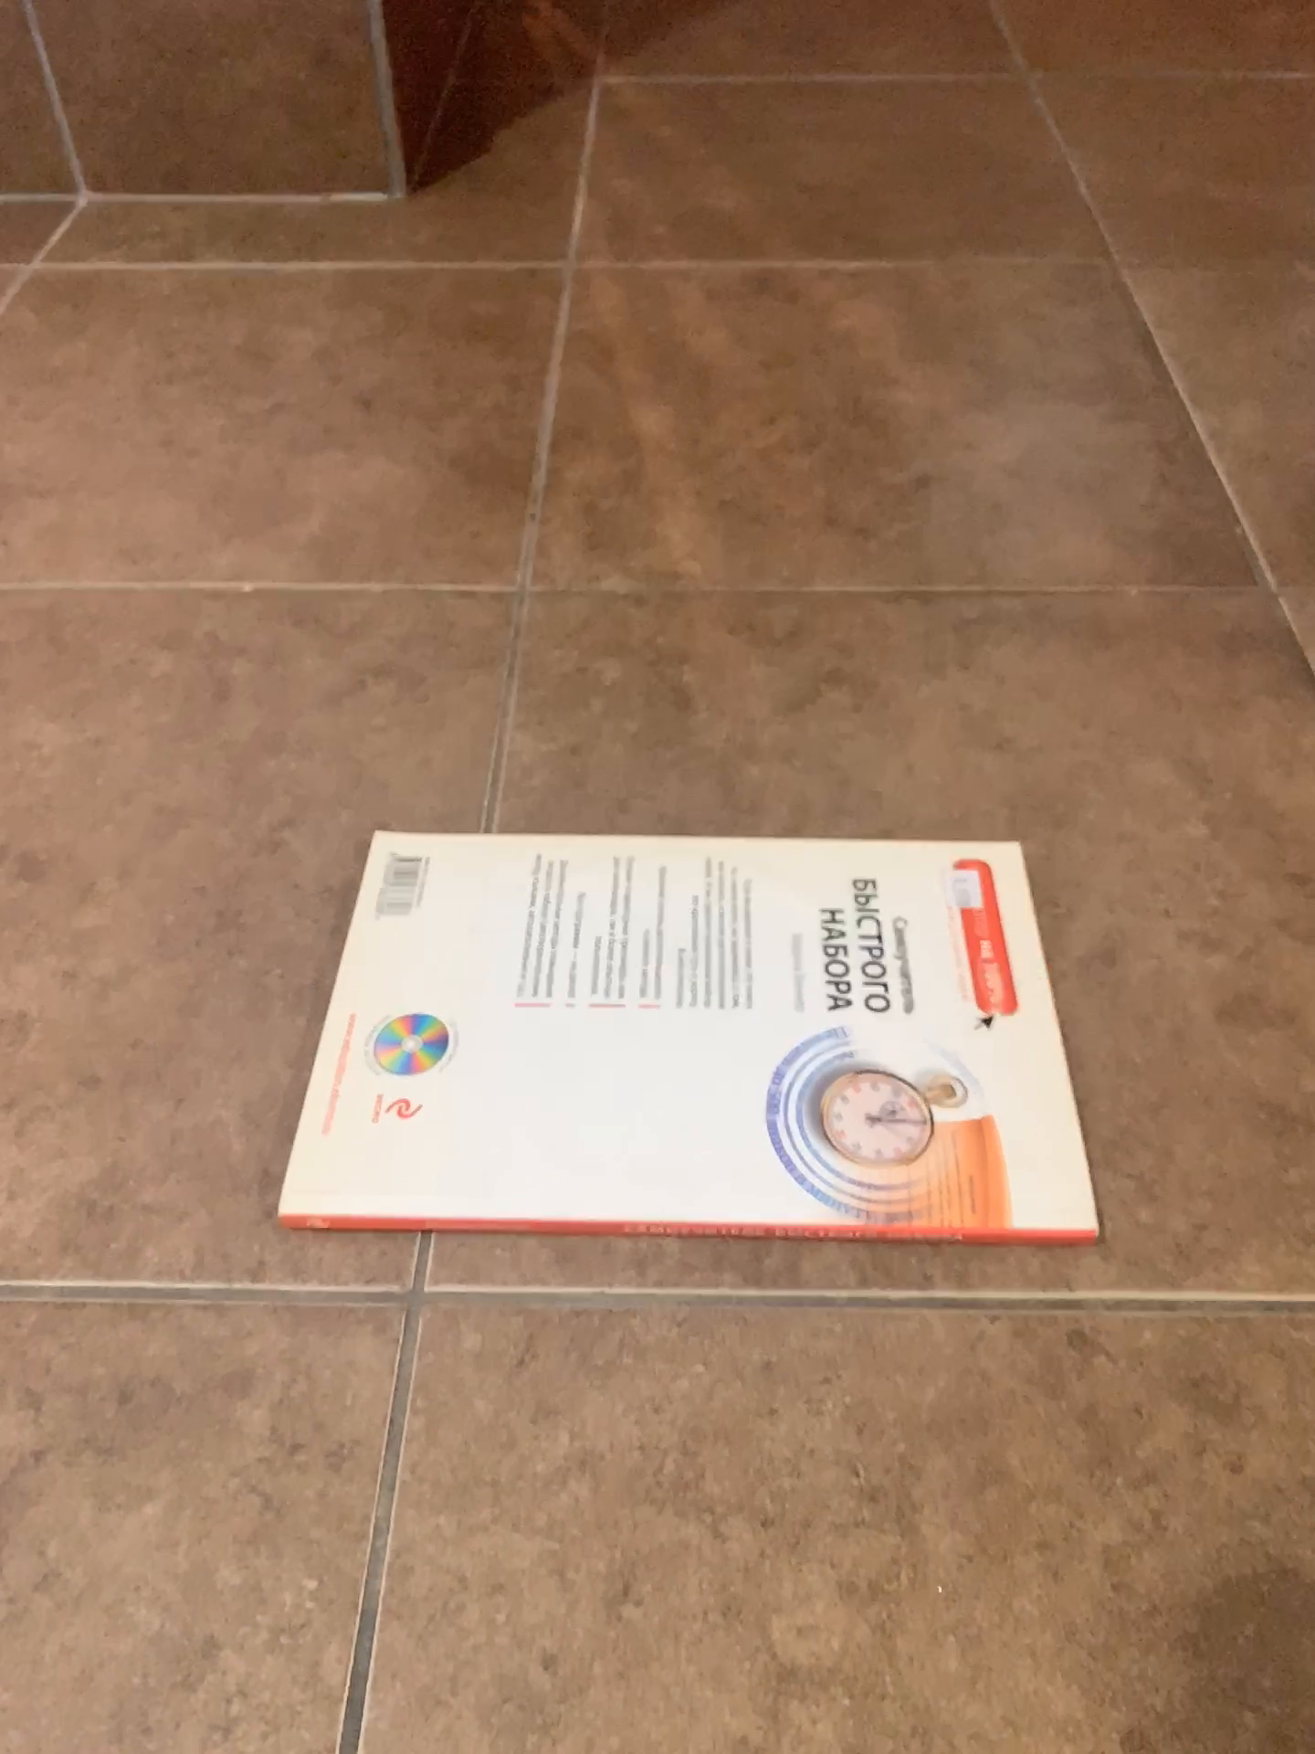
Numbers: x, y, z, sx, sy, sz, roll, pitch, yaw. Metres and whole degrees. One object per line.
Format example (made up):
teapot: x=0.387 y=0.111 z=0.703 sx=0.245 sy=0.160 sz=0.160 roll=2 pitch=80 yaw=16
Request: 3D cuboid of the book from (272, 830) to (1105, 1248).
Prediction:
book: x=0.009 y=0.040 z=0.393 sx=0.210 sy=0.009 sz=0.135 roll=1 pitch=48 yaw=2
